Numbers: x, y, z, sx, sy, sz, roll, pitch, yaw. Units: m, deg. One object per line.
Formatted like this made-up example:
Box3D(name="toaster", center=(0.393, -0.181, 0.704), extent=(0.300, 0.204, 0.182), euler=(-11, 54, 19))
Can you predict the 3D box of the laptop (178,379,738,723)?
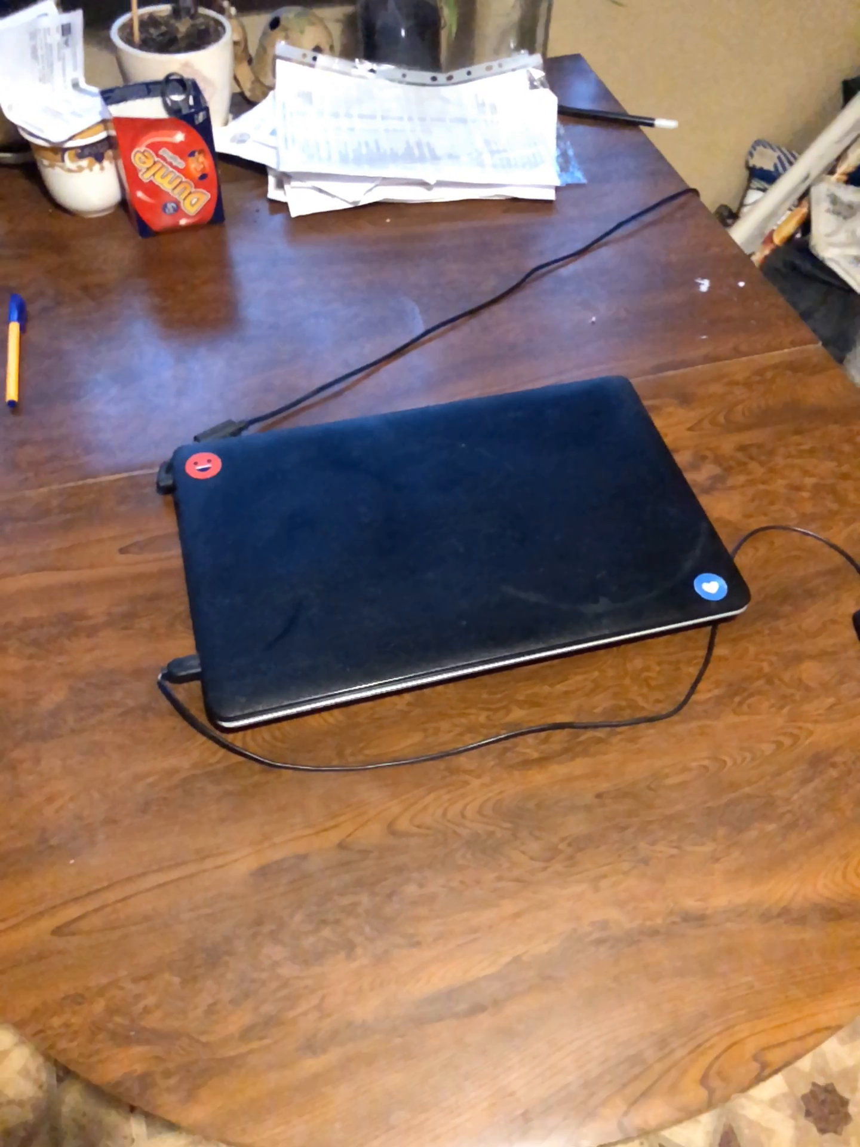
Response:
Box3D(name="laptop", center=(0.012, -0.036, 0.699), extent=(0.366, 0.007, 0.239), euler=(-11, 55, -12))
